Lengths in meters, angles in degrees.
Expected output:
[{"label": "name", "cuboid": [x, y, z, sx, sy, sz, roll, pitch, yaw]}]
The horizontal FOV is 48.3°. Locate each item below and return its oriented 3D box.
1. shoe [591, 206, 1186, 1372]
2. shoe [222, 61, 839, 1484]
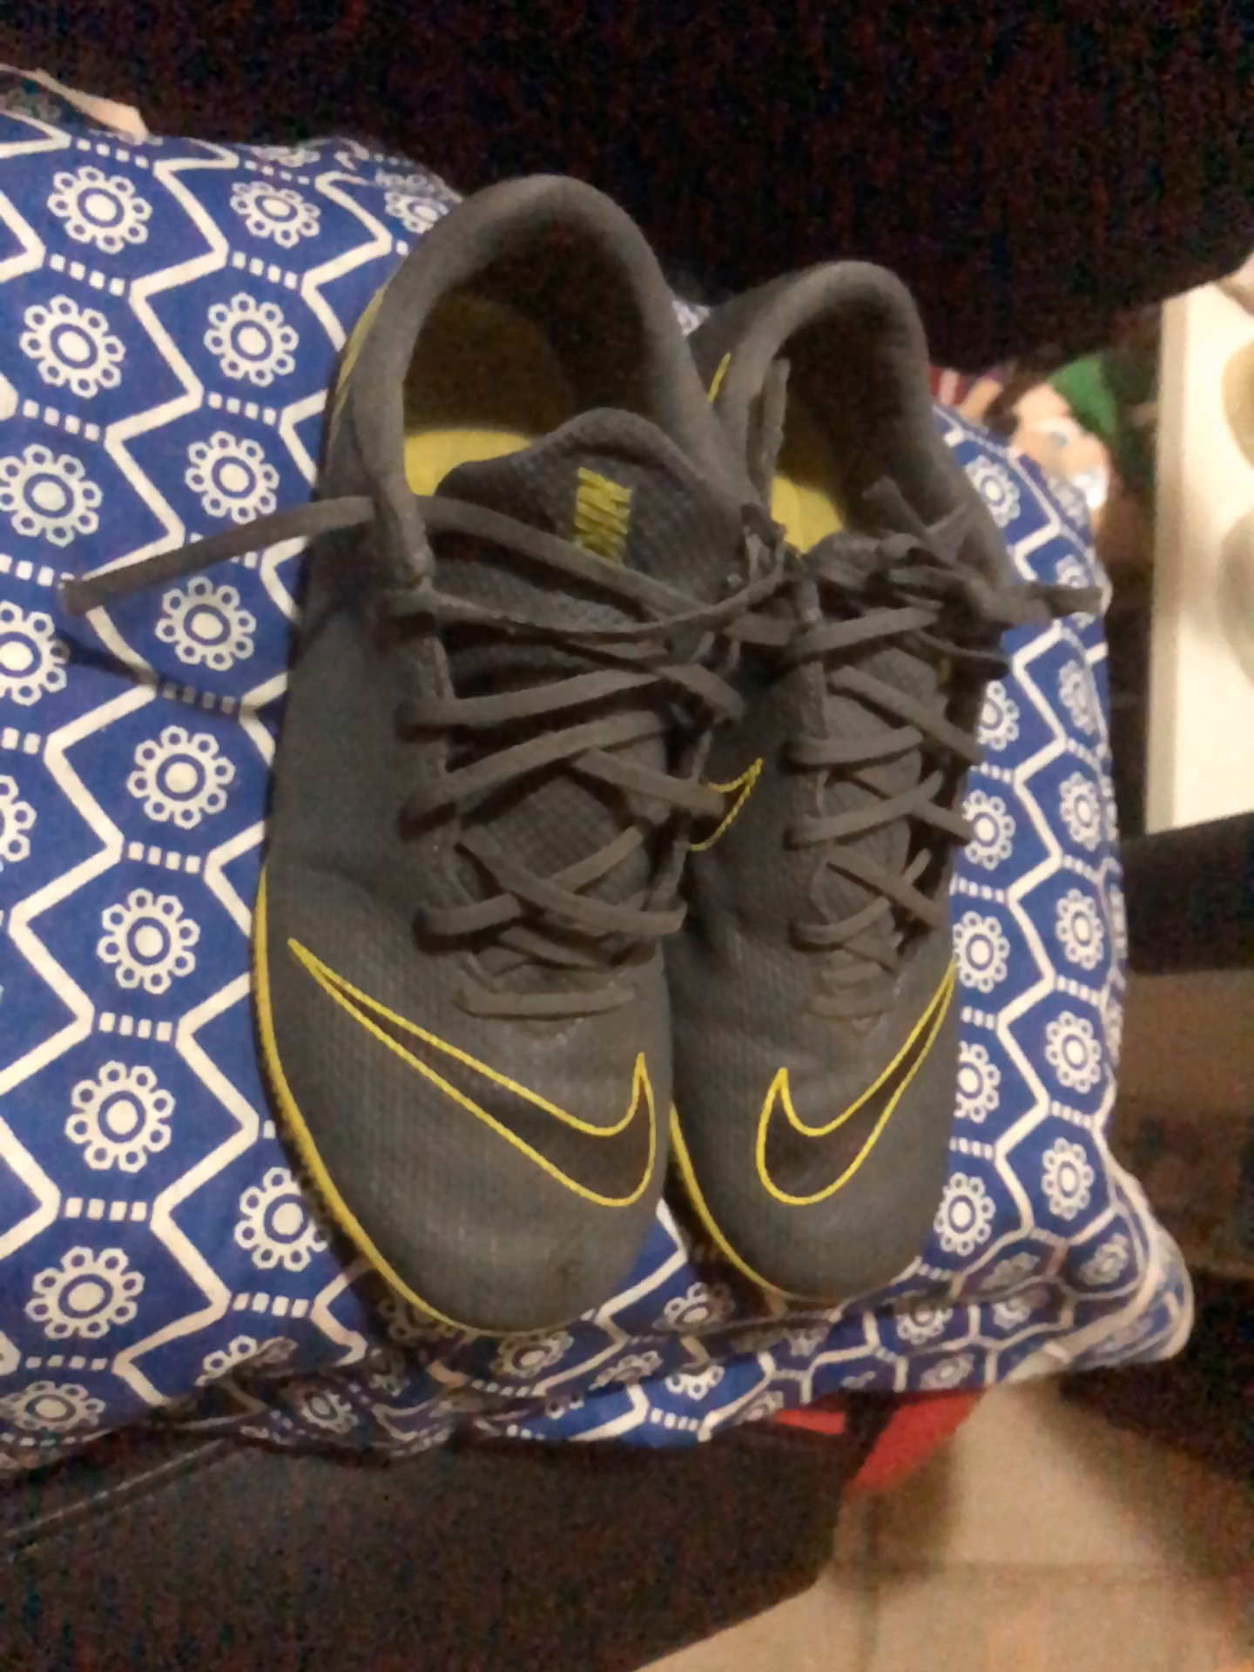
[{"label": "shoe", "cuboid": [0.057, -0.009, 0.344, 0.090, 0.090, 0.240, 1, 81, -28]}, {"label": "shoe", "cuboid": [-0.028, -0.012, 0.292, 0.090, 0.090, 0.240, 1, 81, -28]}]
